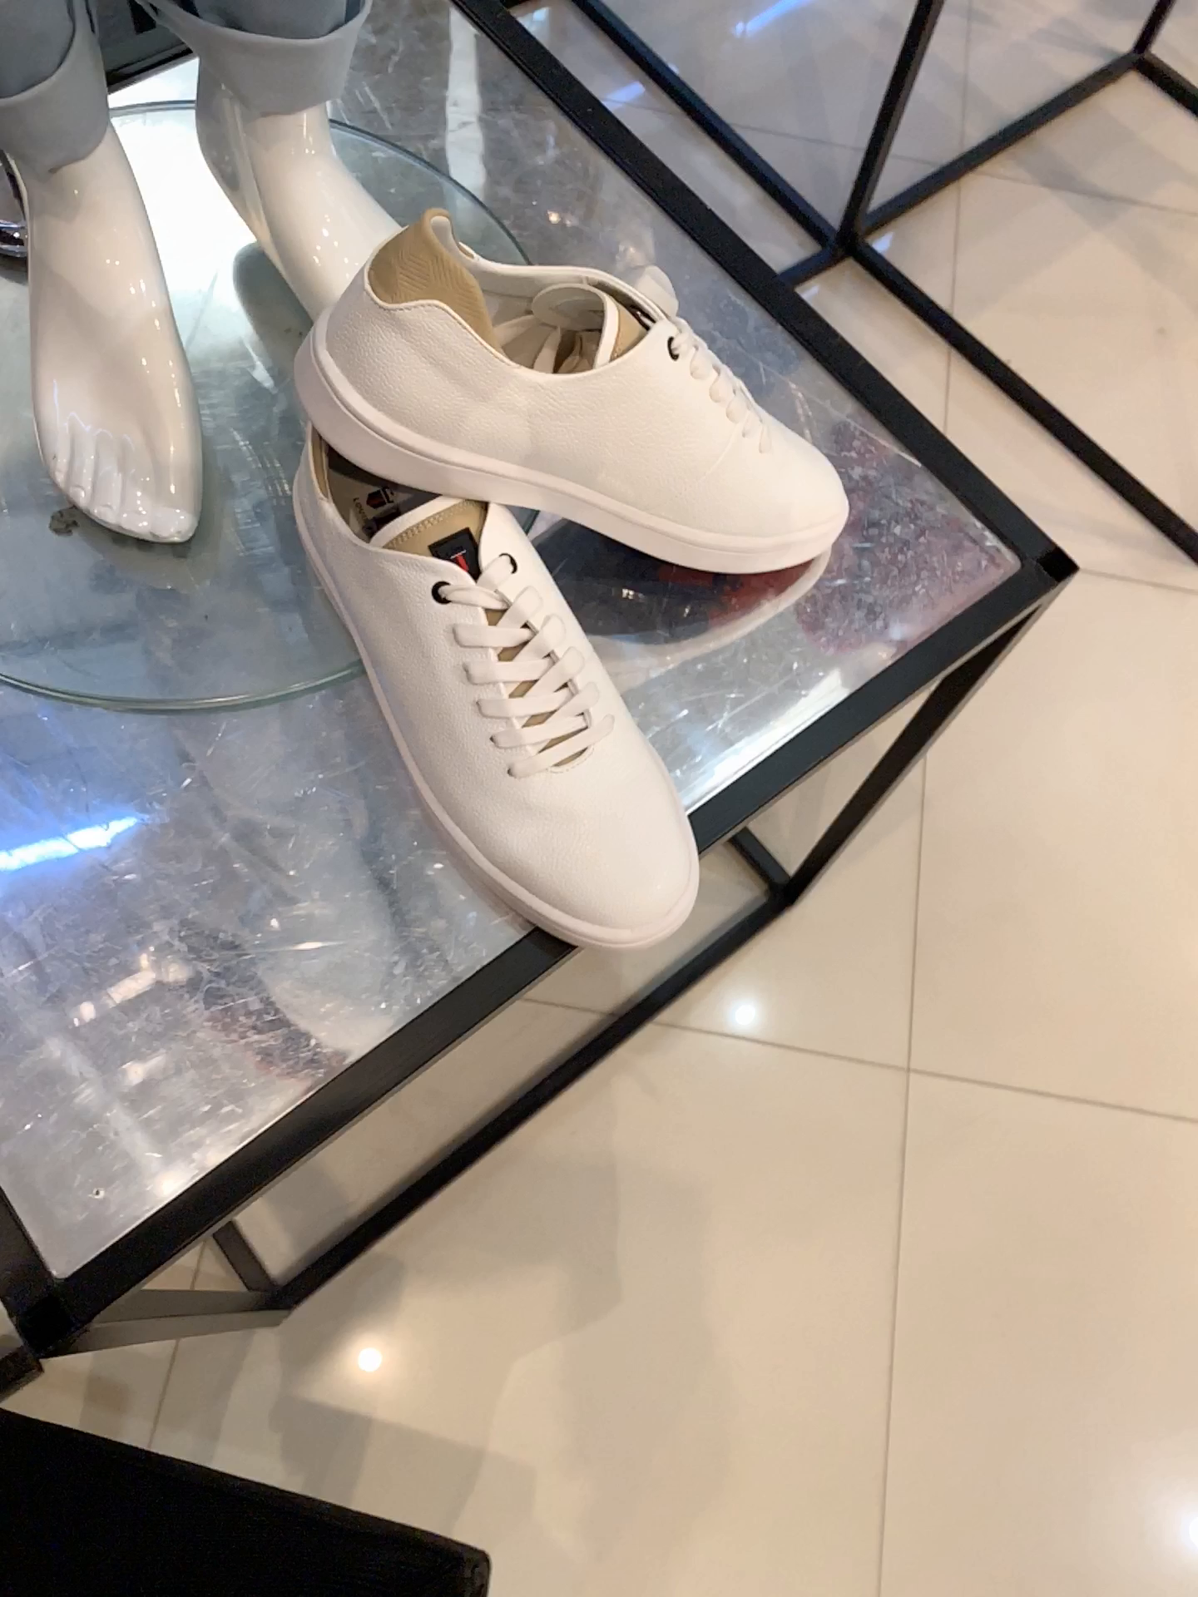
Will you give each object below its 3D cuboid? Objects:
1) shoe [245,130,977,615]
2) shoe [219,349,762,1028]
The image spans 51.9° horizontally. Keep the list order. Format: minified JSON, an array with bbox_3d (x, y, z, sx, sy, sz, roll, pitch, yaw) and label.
[{"bbox_3d":[0.008,-0.174,0.537,0.300,0.080,0.100,9,48,-25],"label":"shoe"},{"bbox_3d":[-0.057,-0.054,0.572,0.100,0.100,0.291,-28,73,-16],"label":"shoe"}]
